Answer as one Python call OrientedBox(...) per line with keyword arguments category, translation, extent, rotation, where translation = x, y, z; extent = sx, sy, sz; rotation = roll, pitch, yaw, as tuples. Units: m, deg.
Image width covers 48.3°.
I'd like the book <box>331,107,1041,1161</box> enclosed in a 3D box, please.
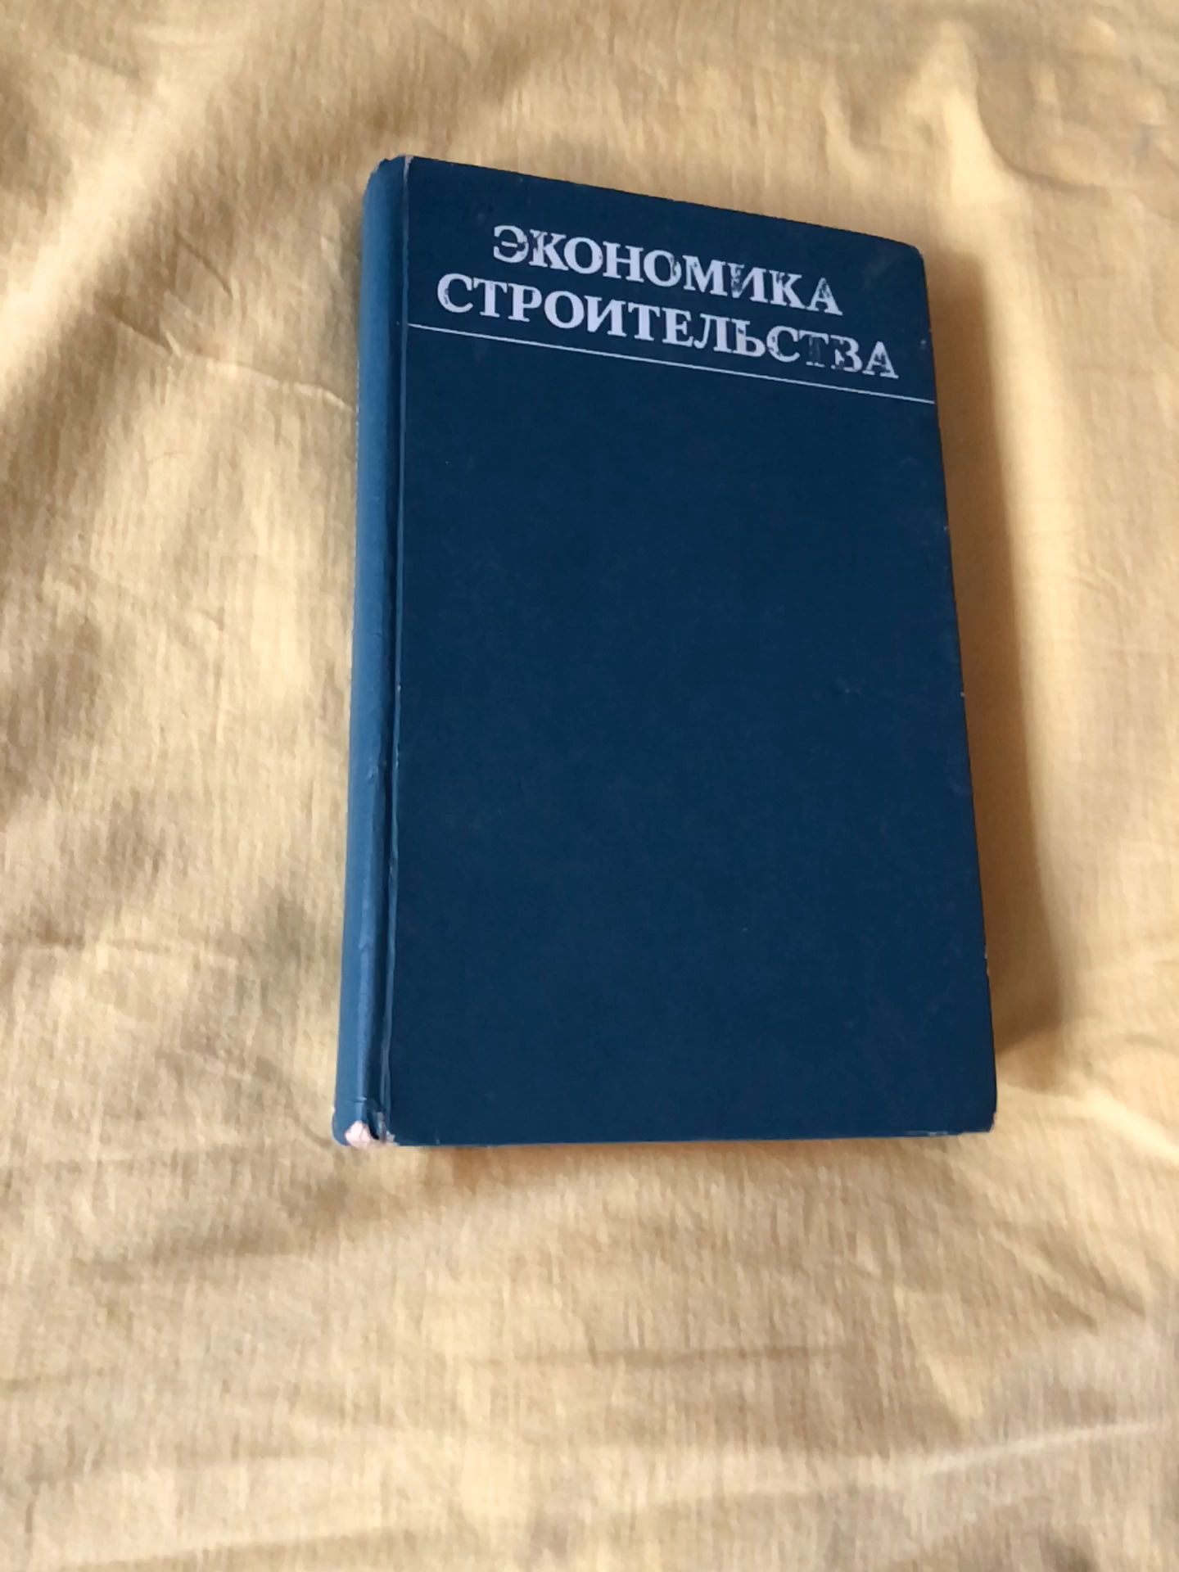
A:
OrientedBox(category="book", translation=(0.017, -0.030, 0.268), extent=(0.130, 0.030, 0.200), rotation=(3, 77, -16))
